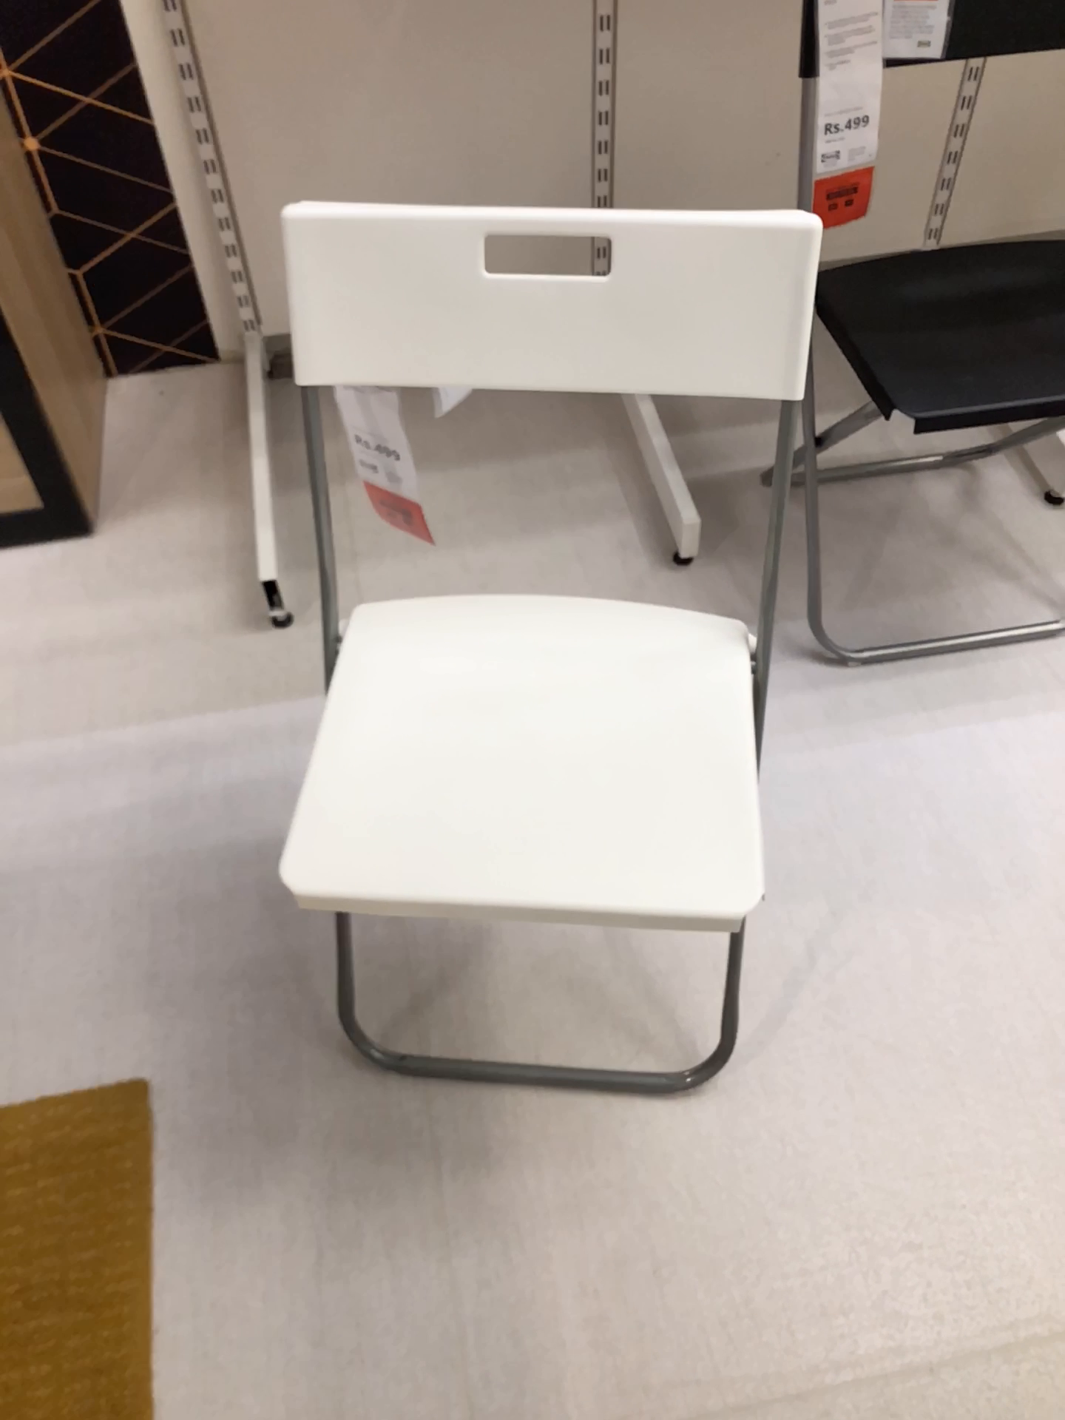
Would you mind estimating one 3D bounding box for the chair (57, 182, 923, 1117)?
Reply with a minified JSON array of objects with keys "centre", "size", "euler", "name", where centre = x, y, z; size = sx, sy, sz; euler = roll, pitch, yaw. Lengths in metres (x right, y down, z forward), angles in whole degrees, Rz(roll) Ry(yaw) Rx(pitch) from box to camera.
[{"centre":[0.001,0.002,1.017],"size":[0.450,0.726,0.402],"euler":[3,51,5],"name":"chair"}]
